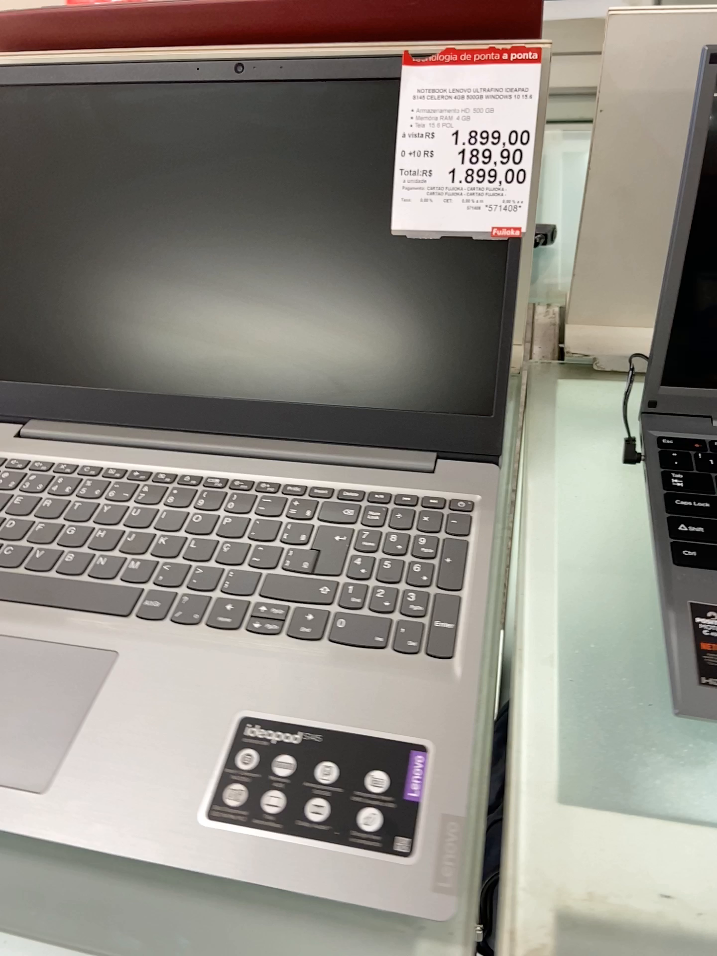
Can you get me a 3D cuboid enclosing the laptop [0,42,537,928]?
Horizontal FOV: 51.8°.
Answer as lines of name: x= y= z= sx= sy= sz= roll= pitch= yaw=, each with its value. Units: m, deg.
laptop: x=-0.110 y=-0.060 z=0.384 sx=0.366 sy=0.189 sz=0.404 roll=5 pitch=43 yaw=12
